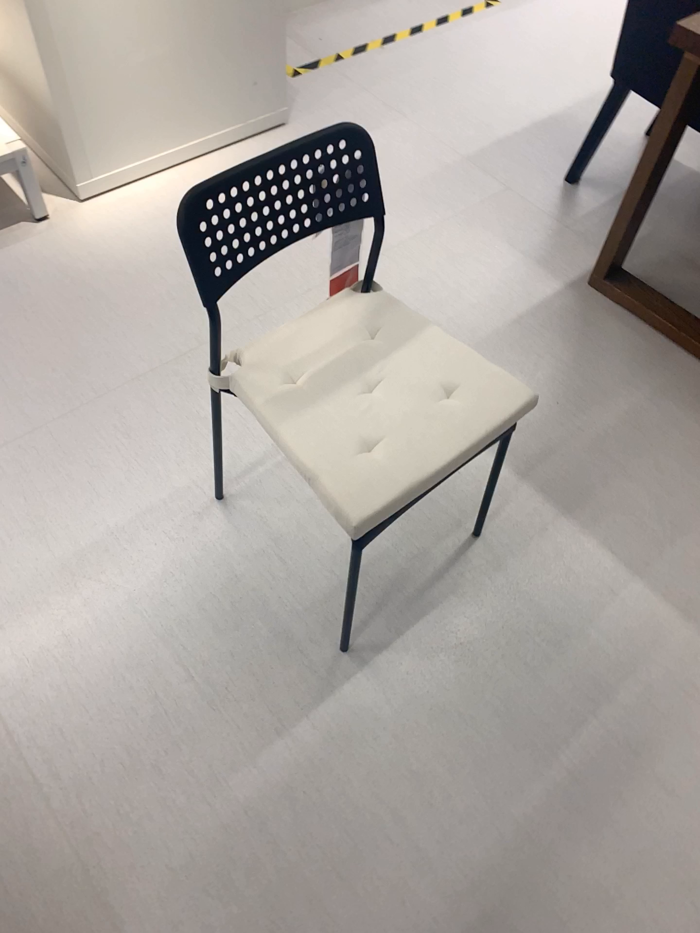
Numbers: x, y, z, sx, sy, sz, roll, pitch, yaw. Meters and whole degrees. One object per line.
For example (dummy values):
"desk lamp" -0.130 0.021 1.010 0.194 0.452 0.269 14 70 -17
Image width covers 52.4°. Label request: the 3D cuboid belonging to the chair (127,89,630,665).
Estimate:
"chair" 0.015 -0.108 1.246 0.451 0.758 0.491 -35 64 -24
